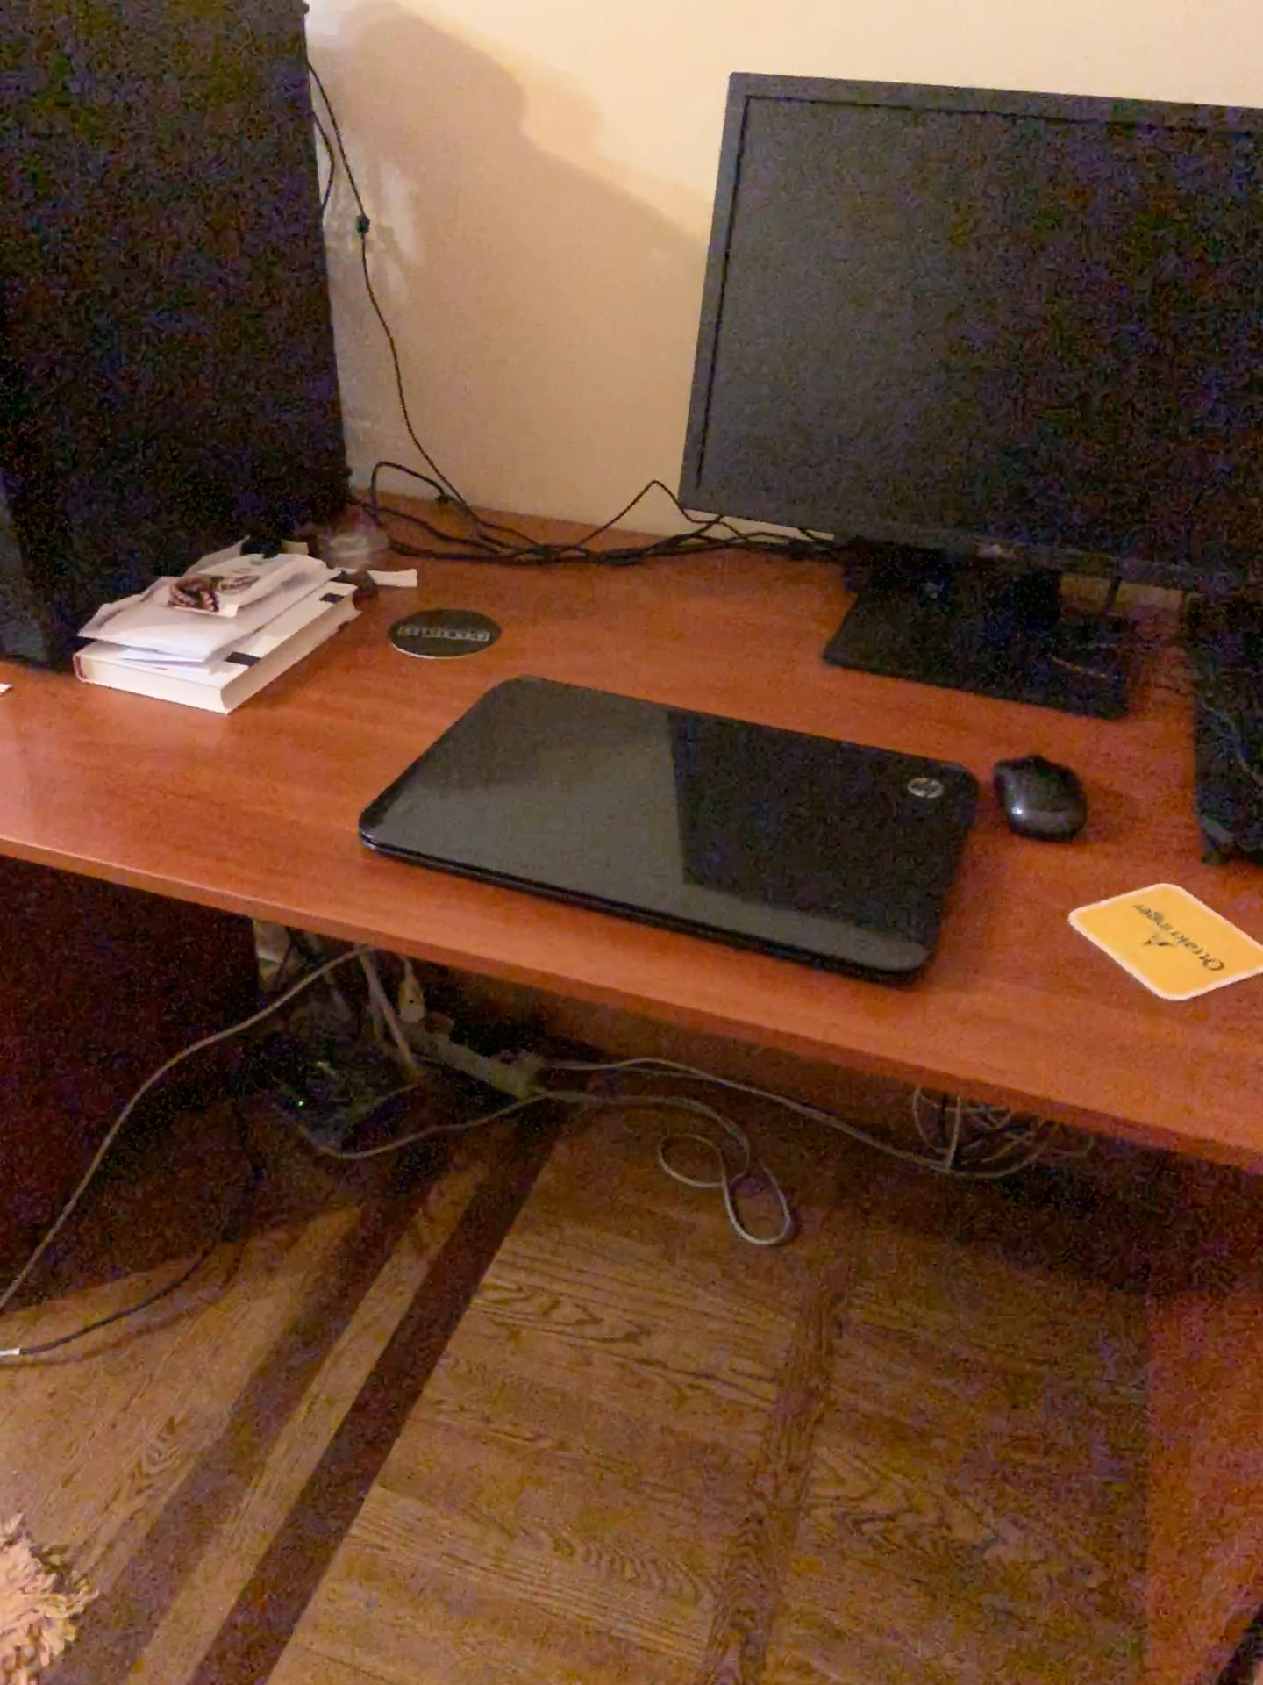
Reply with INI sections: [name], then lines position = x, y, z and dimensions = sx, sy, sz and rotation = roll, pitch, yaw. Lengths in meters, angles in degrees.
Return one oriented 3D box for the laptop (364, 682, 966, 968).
[laptop]
position = 0.033, -0.030, 0.924
dimensions = 0.382, 0.001, 0.243
rotation = 13, 36, 17
